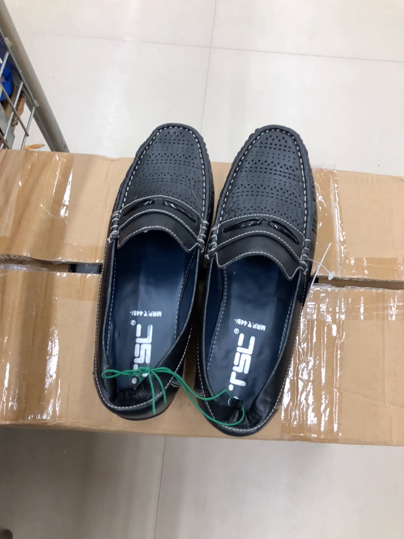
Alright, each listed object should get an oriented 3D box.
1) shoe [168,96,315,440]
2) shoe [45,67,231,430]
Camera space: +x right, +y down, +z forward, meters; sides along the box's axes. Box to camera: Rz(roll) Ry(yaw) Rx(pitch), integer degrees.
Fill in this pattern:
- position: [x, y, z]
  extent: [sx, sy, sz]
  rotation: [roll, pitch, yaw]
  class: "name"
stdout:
- position: [0.043, -0.007, 0.432]
  extent: [0.100, 0.090, 0.311]
  rotation: [7, 70, 2]
  class: "shoe"
- position: [-0.042, -0.024, 0.406]
  extent: [0.100, 0.090, 0.311]
  rotation: [7, 70, 2]
  class: "shoe"
